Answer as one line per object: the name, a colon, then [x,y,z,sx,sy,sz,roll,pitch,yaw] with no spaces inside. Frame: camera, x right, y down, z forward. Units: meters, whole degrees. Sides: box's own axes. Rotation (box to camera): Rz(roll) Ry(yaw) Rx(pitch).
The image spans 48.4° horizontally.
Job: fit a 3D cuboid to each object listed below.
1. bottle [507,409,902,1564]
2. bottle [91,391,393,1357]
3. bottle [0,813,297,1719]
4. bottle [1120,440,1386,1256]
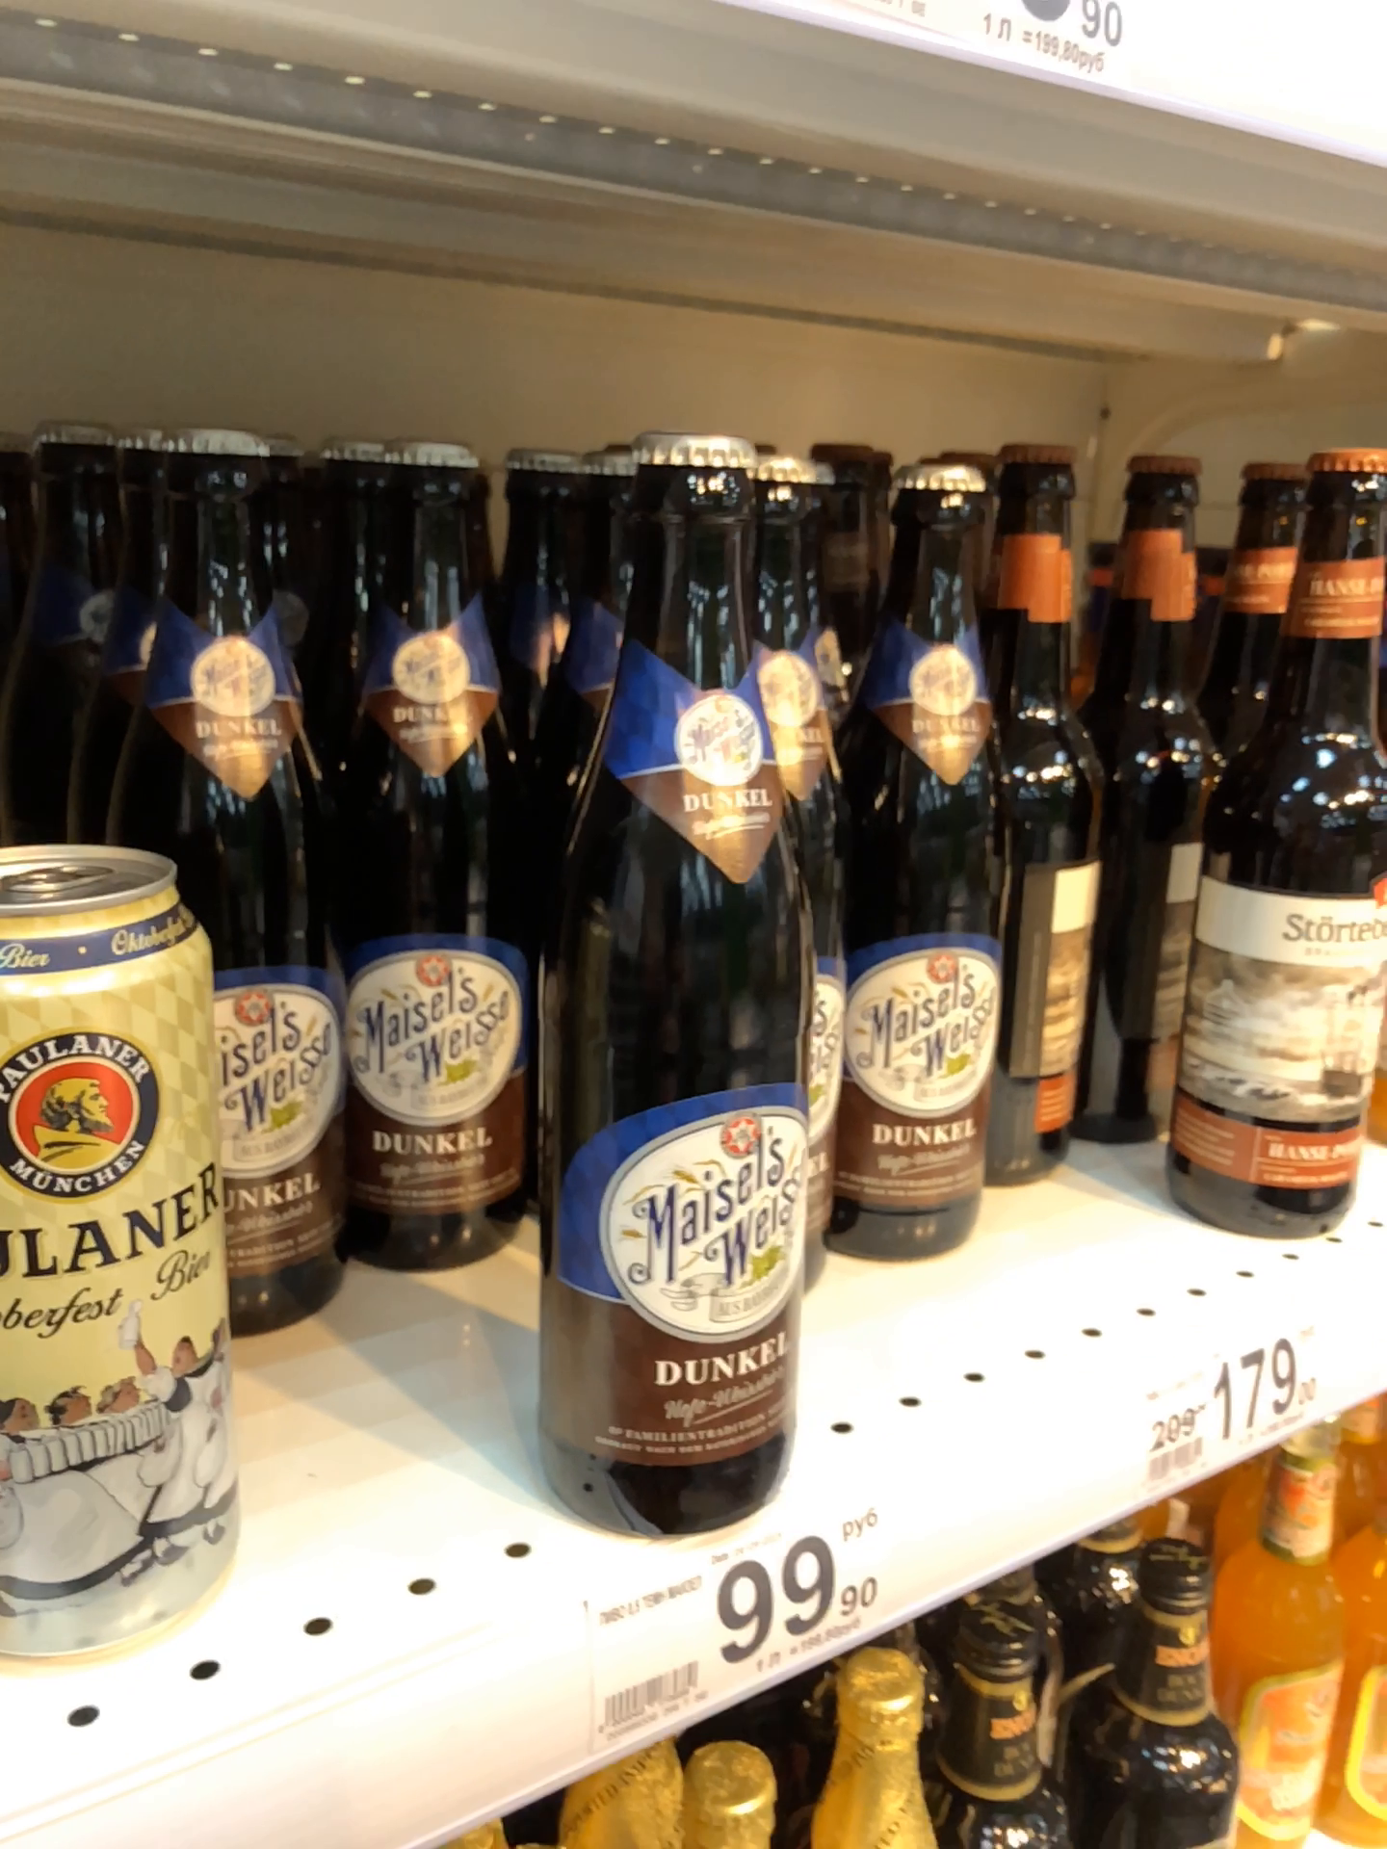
bottle: [-0.004,0.015,0.376,0.065,0.262,0.067,2,15,-1]
bottle: [-0.133,-0.016,0.456,0.070,0.261,0.082,-3,16,-21]
bottle: [-0.135,0.067,0.336,0.070,0.167,0.068,2,15,-1]
bottle: [0.214,-0.026,0.547,0.065,0.273,0.067,2,15,-1]
